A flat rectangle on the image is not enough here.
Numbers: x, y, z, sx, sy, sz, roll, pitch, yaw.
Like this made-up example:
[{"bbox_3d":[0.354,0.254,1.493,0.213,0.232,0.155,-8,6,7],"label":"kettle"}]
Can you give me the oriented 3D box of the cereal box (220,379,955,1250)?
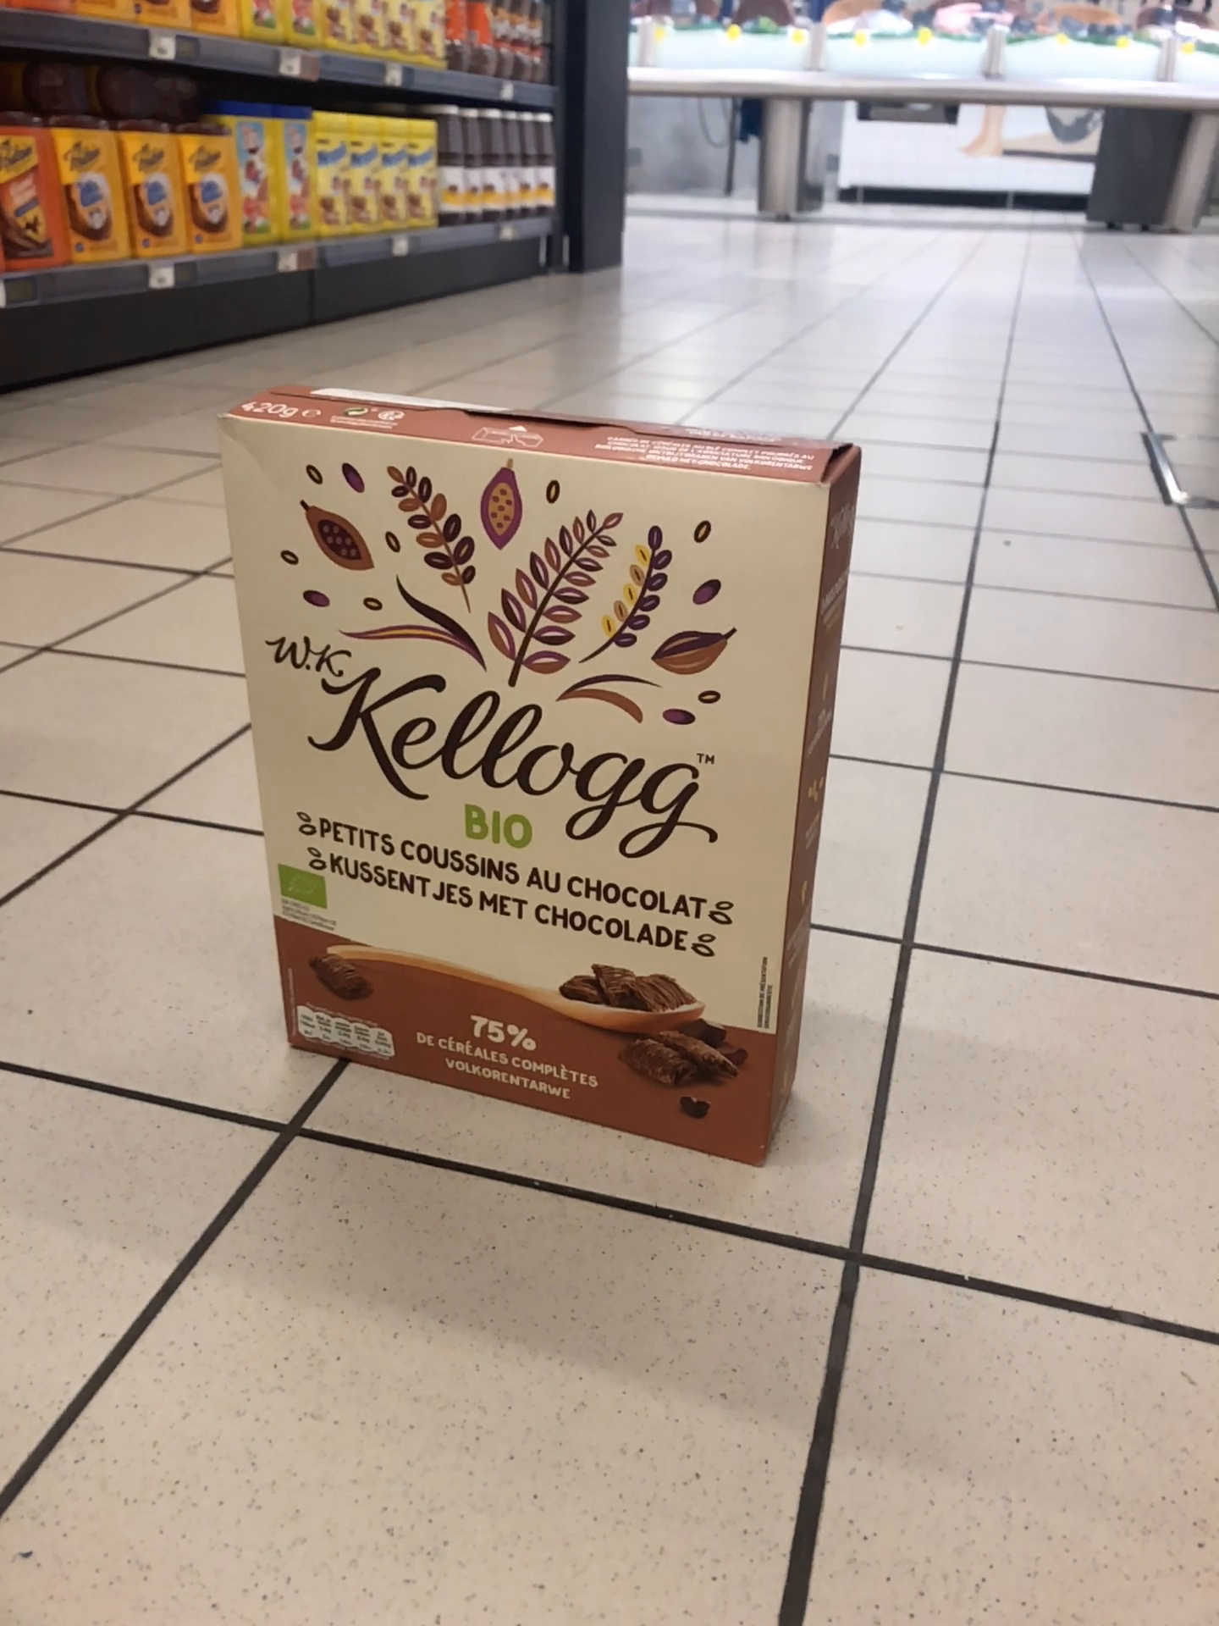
[{"bbox_3d":[-0.010,0.002,0.430,0.200,0.248,0.050,11,29,19],"label":"cereal box"}]
